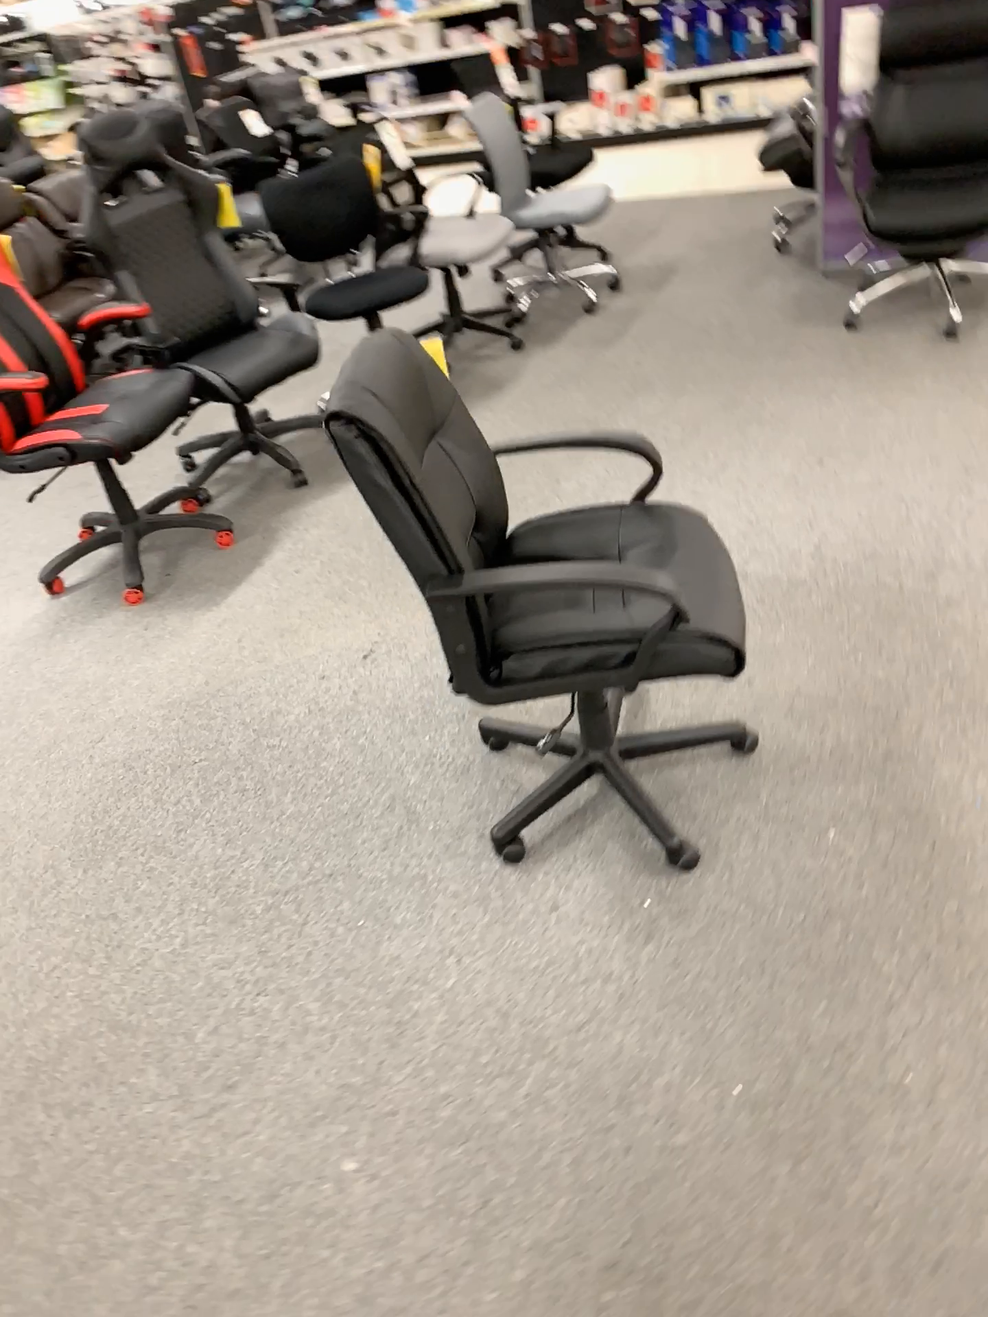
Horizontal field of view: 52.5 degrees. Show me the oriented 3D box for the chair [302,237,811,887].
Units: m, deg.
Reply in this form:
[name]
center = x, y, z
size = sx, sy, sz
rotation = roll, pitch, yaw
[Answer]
[chair]
center = 0.186, -0.173, 1.930
size = 0.700, 0.964, 0.684
rotation = -5, 33, 11
